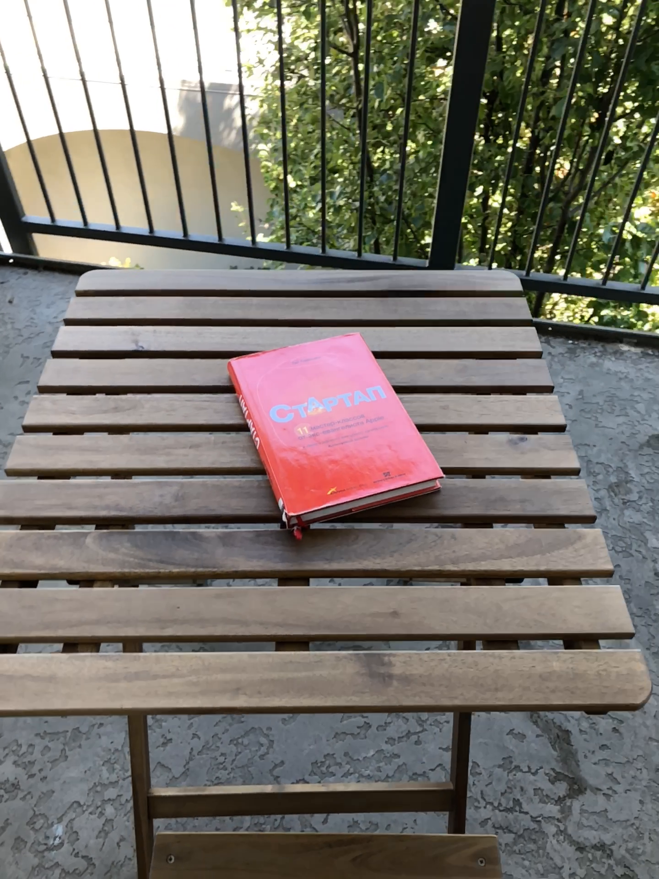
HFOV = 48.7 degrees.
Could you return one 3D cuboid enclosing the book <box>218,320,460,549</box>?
[{"bbox_3d":[0.000,-0.018,0.770,0.180,0.050,0.241,-14,49,-13],"label":"book"}]
